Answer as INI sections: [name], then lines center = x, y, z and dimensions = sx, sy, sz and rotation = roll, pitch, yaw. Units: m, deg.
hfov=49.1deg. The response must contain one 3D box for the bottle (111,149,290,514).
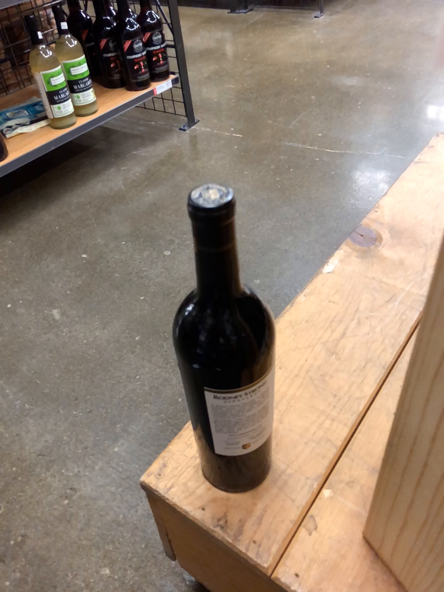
[bottle]
center = 0.000, 0.053, 0.384
dimensions = 0.080, 0.309, 0.070
rotation = -25, 45, -19
